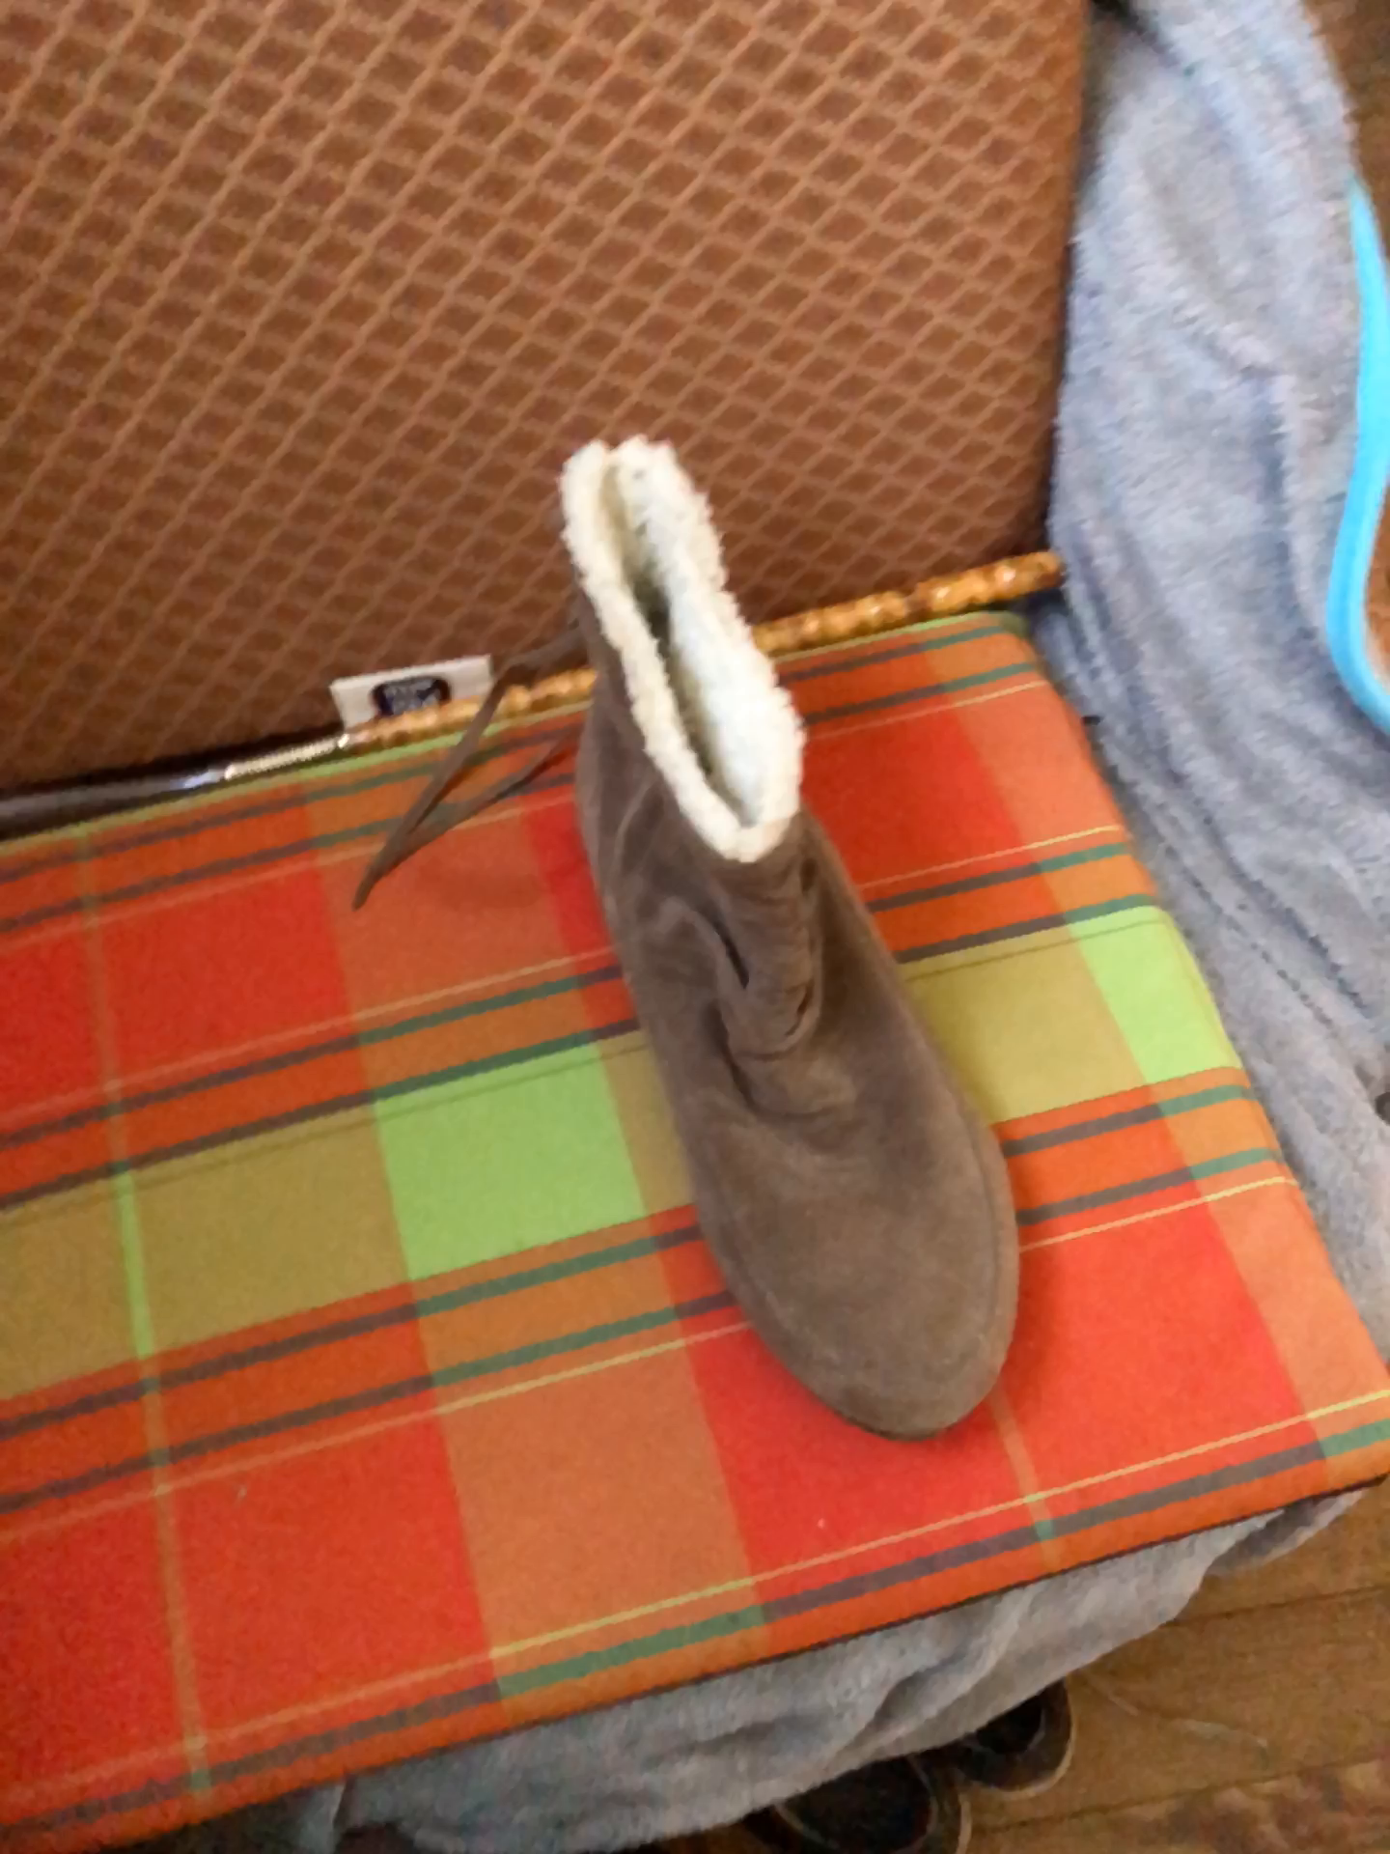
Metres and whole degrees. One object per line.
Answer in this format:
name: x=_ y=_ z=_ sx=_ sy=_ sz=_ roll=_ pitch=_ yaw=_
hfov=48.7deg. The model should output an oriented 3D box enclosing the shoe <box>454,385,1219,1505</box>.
shoe: x=0.027 y=0.009 z=0.438 sx=0.100 sy=0.160 sz=0.261 roll=-18 pitch=64 yaw=-4
